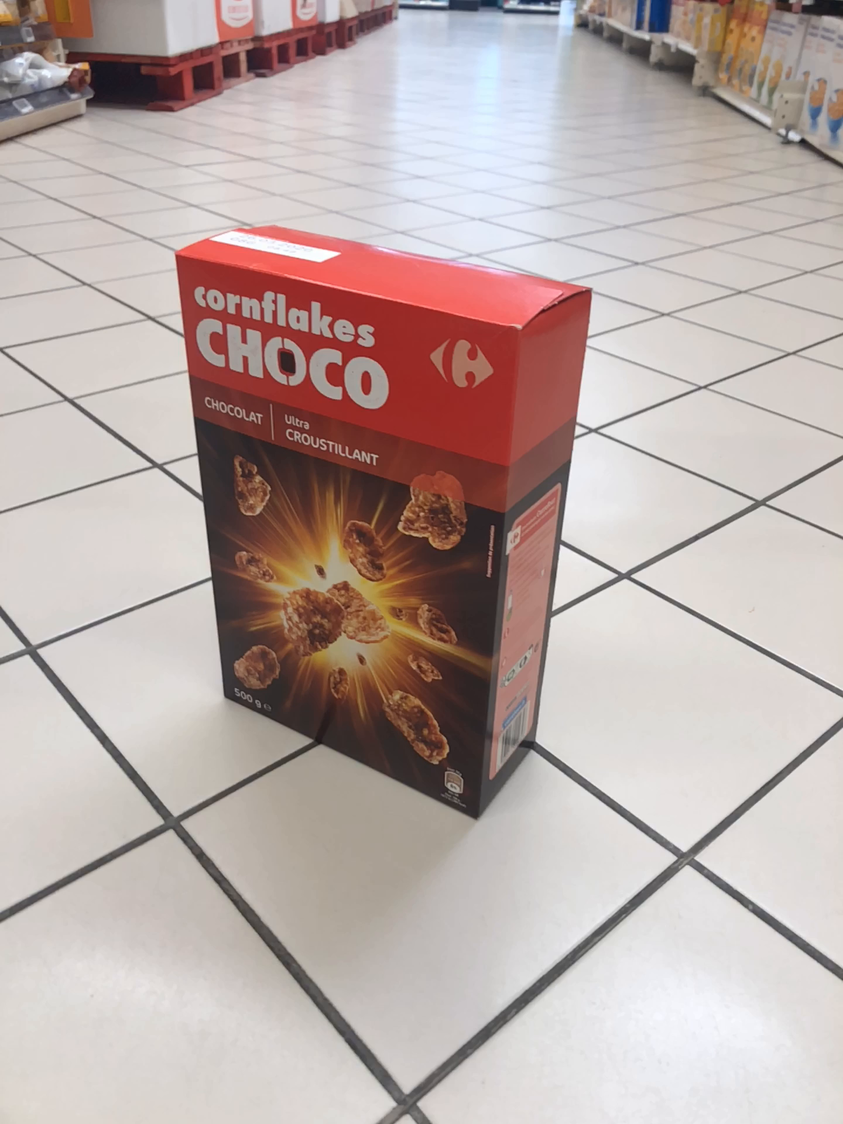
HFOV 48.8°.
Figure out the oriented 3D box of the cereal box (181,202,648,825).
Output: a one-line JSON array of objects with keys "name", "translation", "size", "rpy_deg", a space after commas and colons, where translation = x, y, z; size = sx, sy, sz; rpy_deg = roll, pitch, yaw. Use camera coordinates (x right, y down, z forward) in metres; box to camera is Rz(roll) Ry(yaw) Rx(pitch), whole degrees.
[{"name": "cereal box", "translation": [-0.011, -0.028, 0.502], "size": [0.200, 0.278, 0.091], "rpy_deg": [20, 35, 26]}]
